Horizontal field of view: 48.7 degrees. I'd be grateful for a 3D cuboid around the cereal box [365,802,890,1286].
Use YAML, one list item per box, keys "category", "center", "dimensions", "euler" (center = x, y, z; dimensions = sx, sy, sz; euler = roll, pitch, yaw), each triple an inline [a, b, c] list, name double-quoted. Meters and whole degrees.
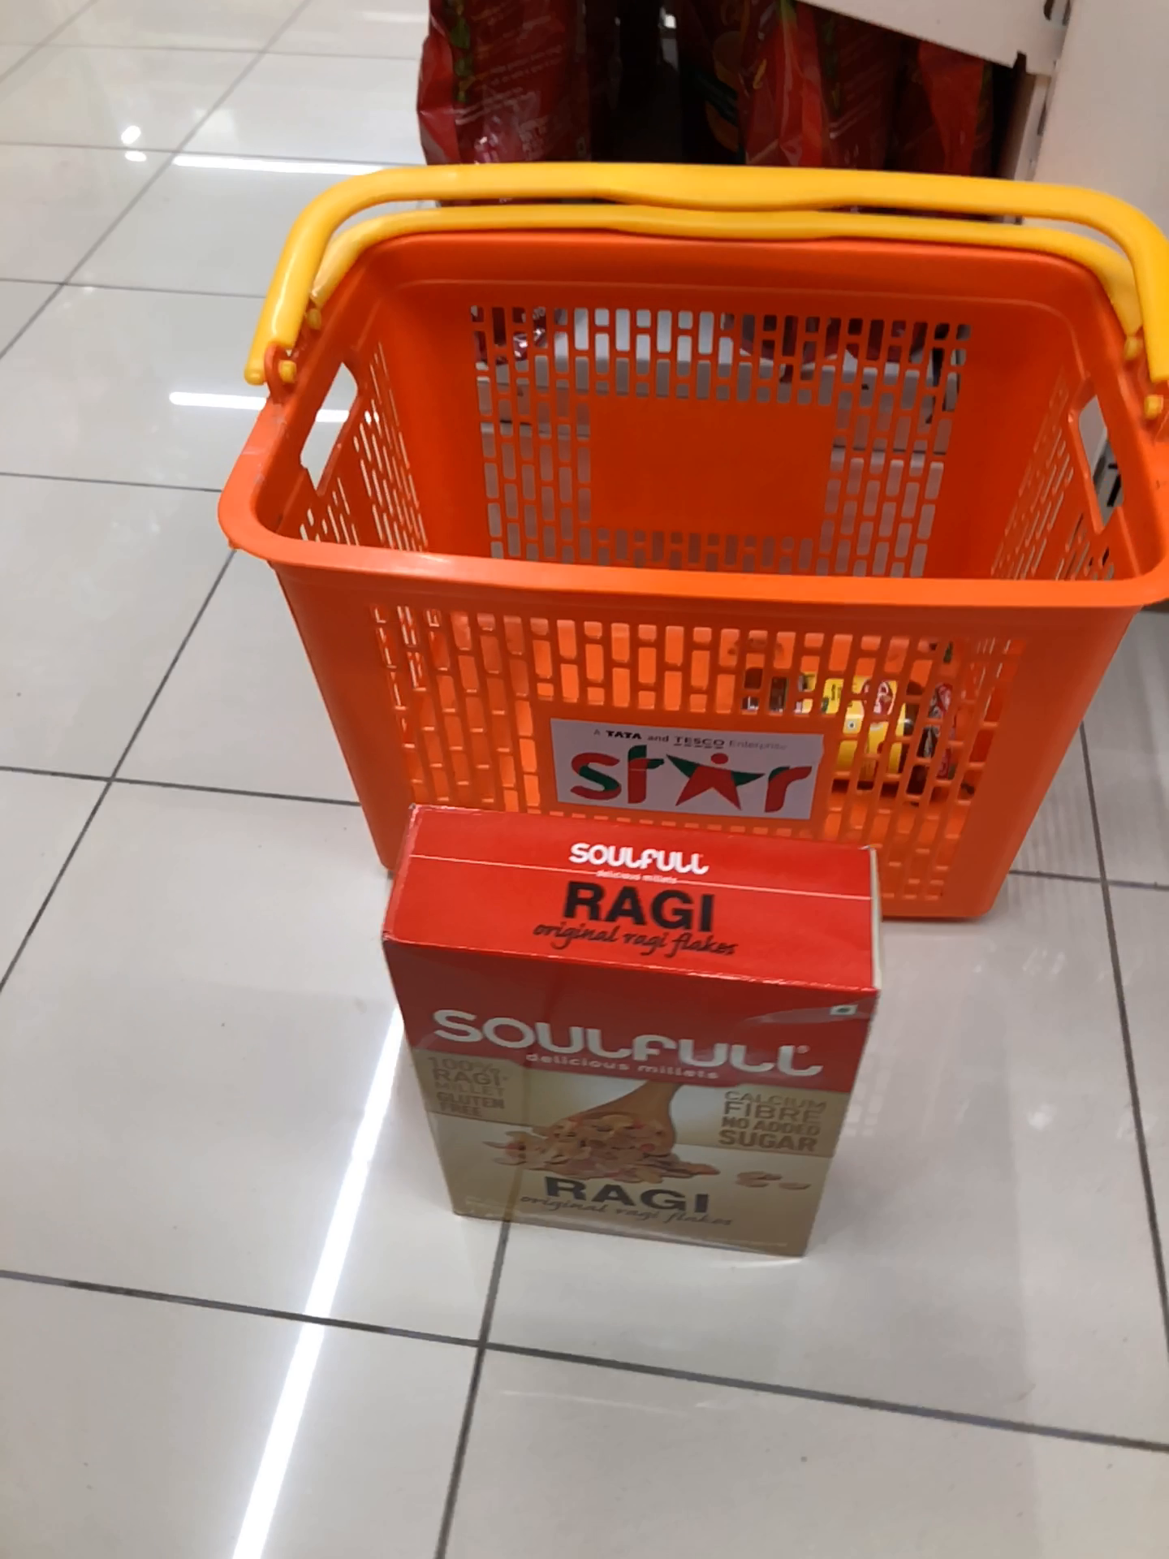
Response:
- category: "cereal box"
  center: [0.020, 0.118, 0.523]
  dimensions: [0.170, 0.239, 0.060]
  euler: [5, 48, 7]
